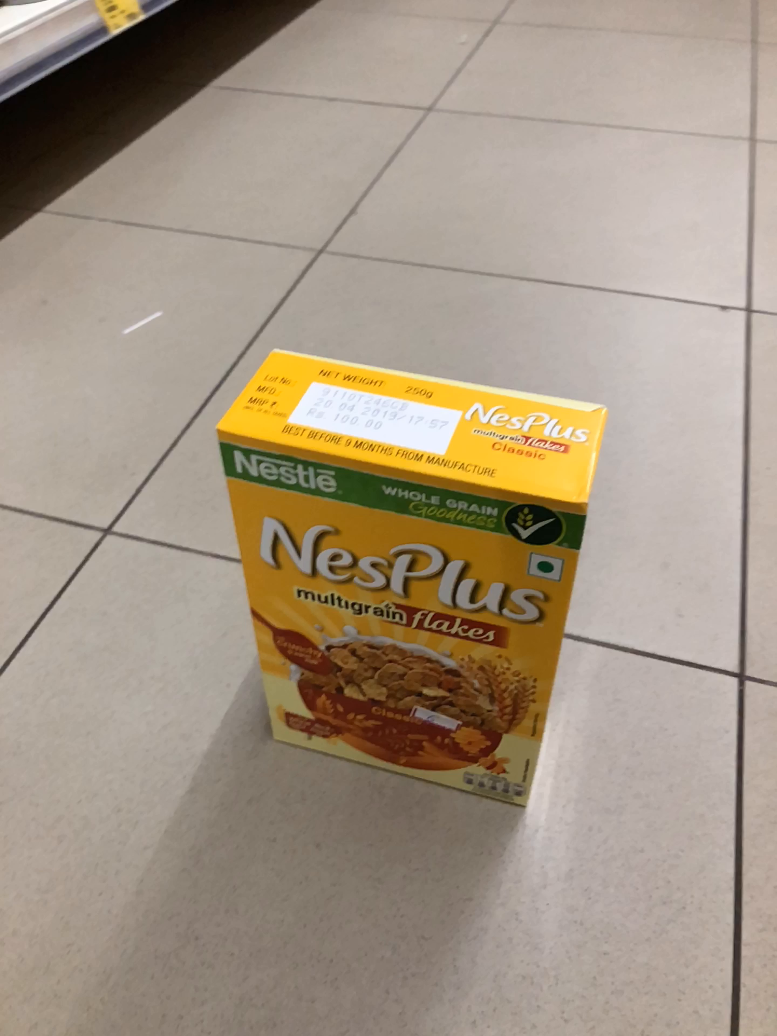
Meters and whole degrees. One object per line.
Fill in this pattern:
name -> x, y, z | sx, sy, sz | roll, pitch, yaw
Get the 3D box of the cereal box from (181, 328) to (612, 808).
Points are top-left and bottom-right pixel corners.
cereal box -> 0.006, 0.031, 0.371 | 0.140, 0.199, 0.060 | 11, 45, 13
